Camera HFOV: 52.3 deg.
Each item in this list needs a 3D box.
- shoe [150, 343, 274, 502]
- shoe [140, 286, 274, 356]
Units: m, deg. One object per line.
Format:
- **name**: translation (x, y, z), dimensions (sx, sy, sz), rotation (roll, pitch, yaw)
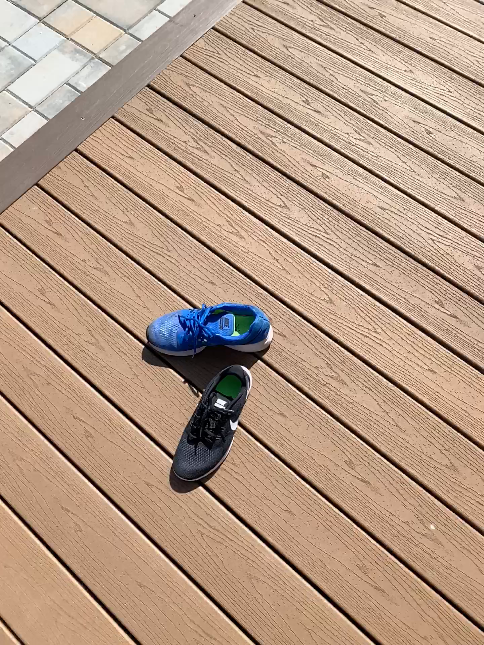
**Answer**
- **shoe**: translation (-0.055, 0.210, 1.039), dimensions (0.120, 0.110, 0.290), rotation (26, 72, 12)
- **shoe**: translation (-0.073, -0.001, 1.139), dimensions (0.290, 0.130, 0.120), rotation (0, 68, 2)
